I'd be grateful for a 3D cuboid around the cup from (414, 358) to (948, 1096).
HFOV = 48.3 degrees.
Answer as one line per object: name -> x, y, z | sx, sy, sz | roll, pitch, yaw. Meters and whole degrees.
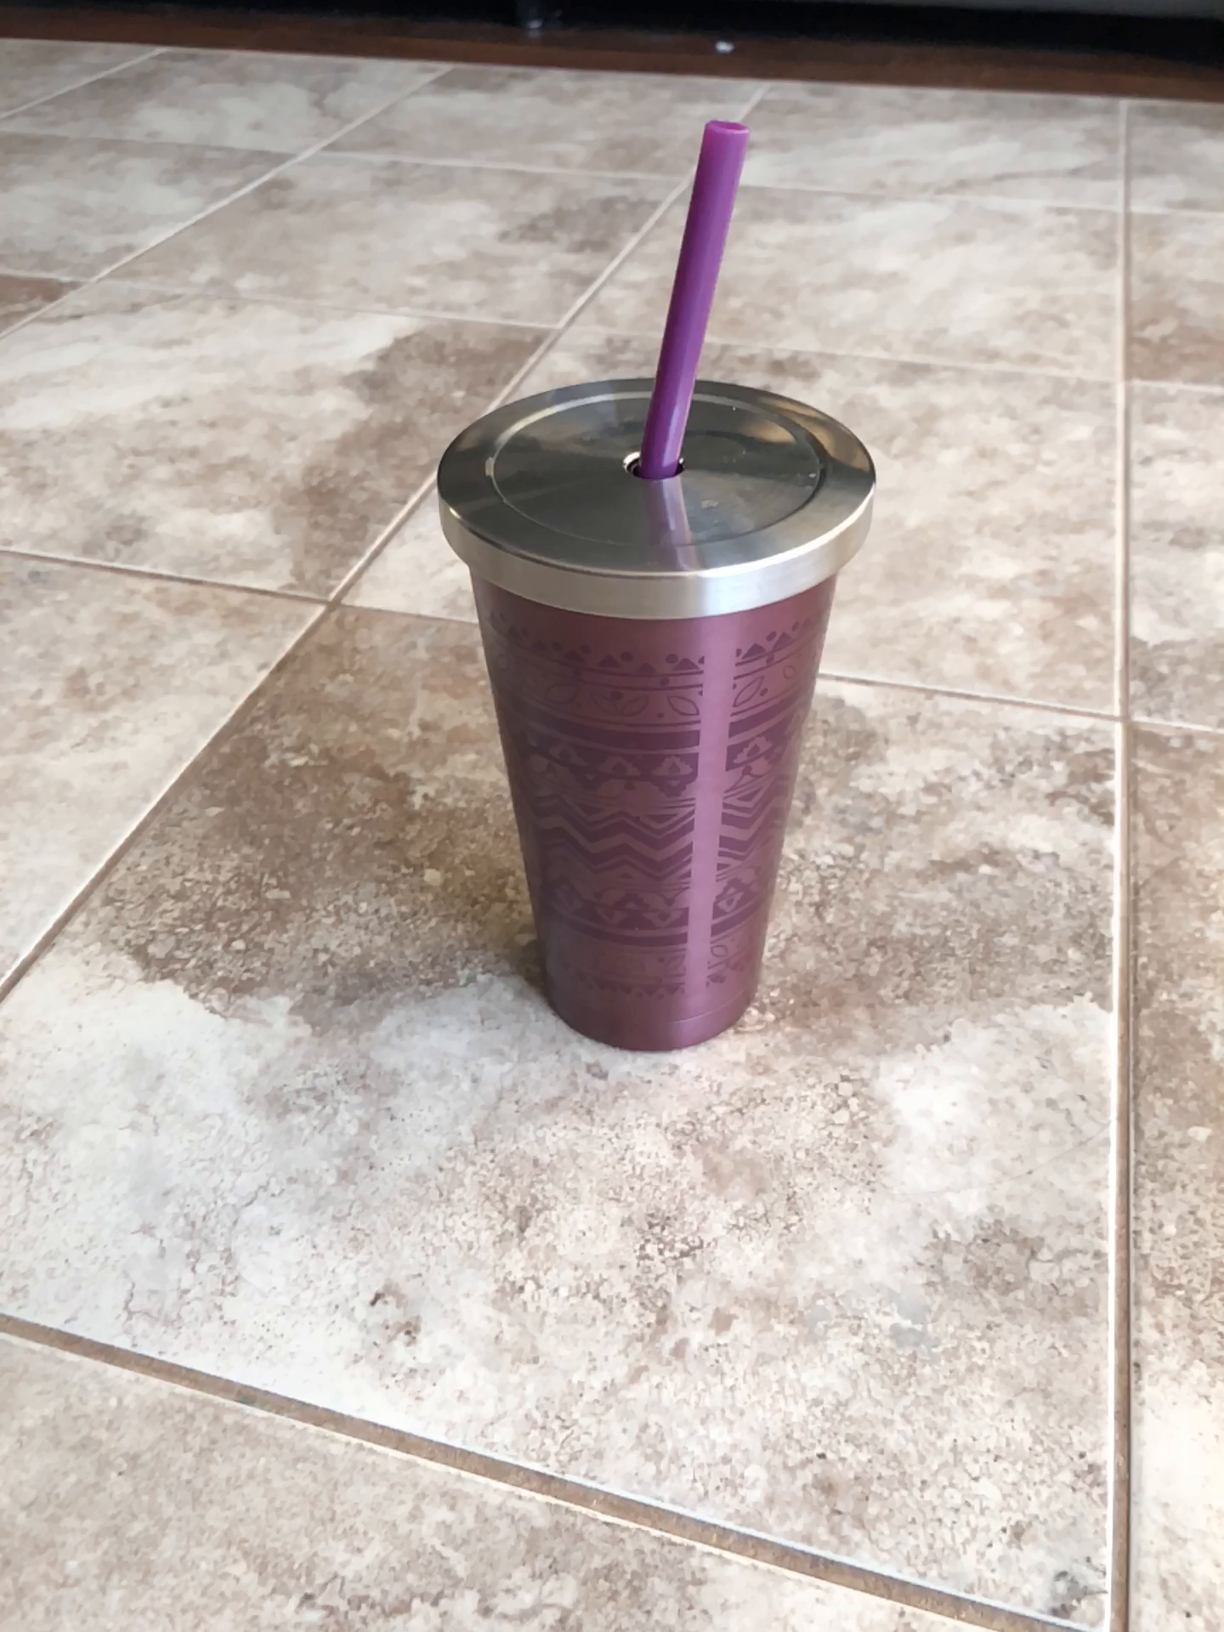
cup -> 0.021, -0.023, 0.374 | 0.111, 0.165, 0.103 | 0, 39, 0
